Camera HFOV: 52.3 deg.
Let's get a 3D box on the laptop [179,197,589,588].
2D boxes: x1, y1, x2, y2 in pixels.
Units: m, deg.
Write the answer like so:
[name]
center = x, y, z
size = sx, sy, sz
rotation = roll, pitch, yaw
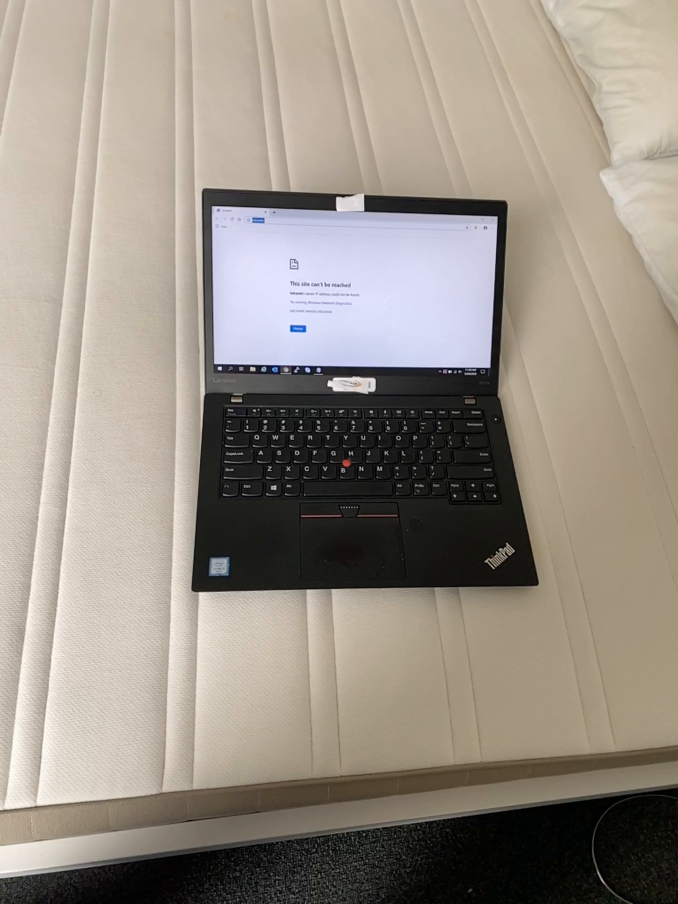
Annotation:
[laptop]
center = 0.024, -0.068, 0.683
size = 0.320, 0.120, 0.382
rotation = 1, 58, -8
